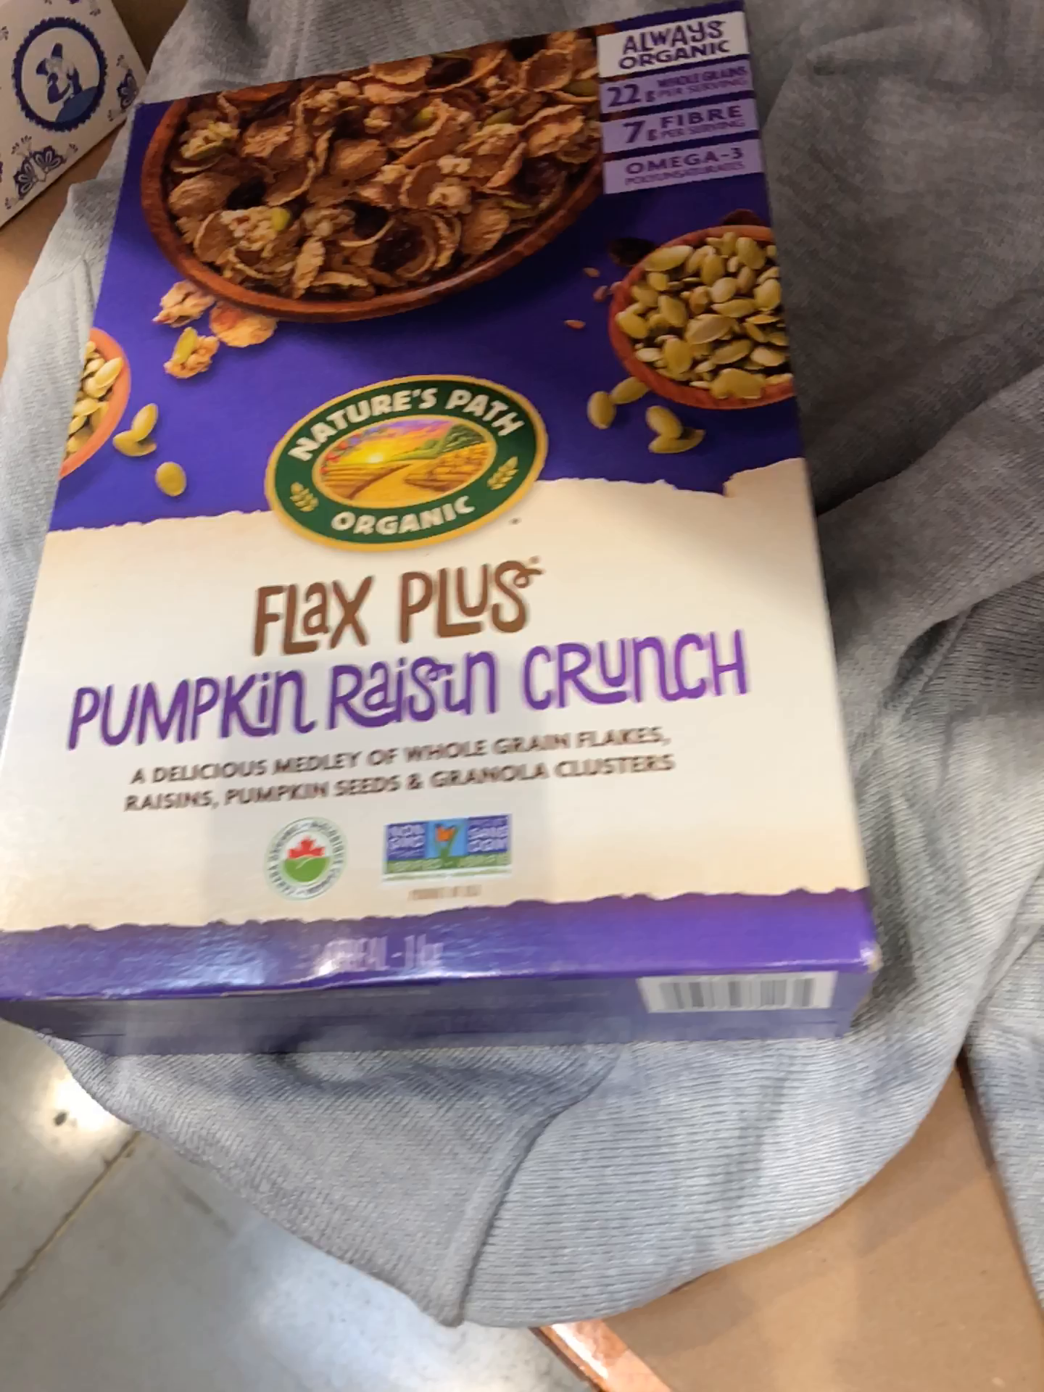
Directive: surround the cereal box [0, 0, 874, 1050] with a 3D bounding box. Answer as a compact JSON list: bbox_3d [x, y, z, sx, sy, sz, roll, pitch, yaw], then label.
[{"bbox_3d":[-0.029,-0.064,0.348,0.210,0.090,0.310,-4,64,9],"label":"cereal box"}]
